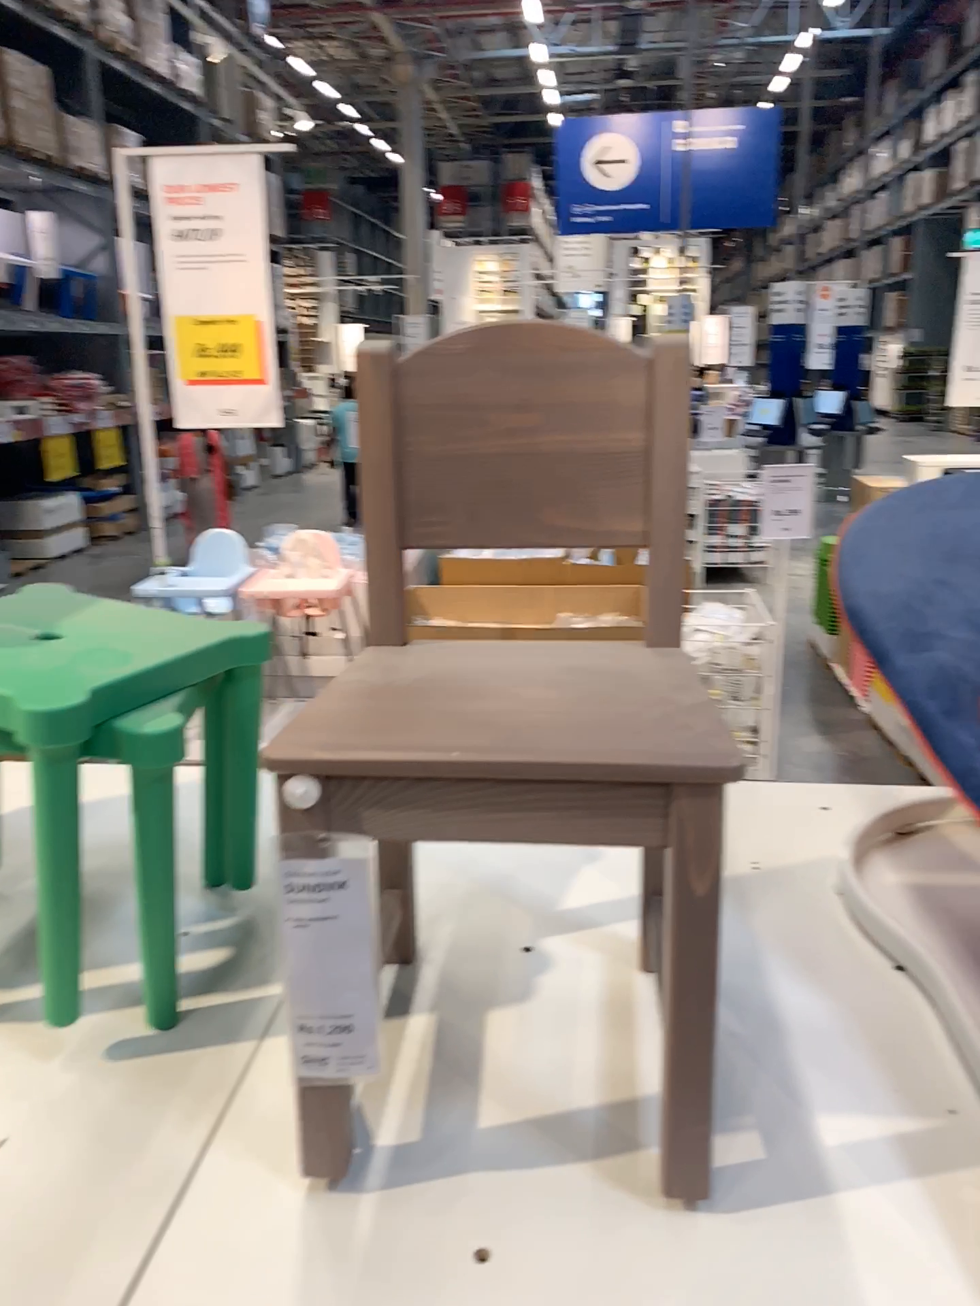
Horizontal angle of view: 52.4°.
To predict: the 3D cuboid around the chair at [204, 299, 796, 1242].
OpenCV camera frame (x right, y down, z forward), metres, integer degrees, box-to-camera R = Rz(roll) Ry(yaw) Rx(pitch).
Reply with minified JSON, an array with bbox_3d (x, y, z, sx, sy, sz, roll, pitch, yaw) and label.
[{"bbox_3d":[0.022,0.047,0.676,0.270,0.518,0.321,0,16,6],"label":"chair"}]
